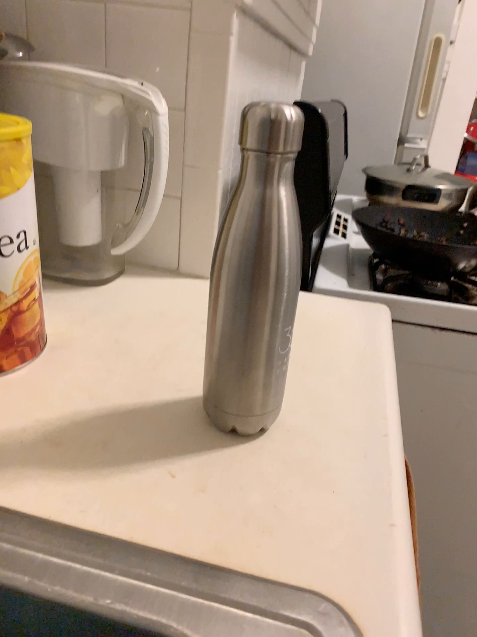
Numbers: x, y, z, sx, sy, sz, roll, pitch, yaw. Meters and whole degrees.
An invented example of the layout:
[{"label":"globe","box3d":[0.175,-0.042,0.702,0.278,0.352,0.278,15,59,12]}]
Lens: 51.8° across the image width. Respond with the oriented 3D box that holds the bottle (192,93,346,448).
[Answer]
[{"label":"bottle","box3d":[0.018,-0.031,0.374,0.070,0.249,0.070,5,26,-2]}]
